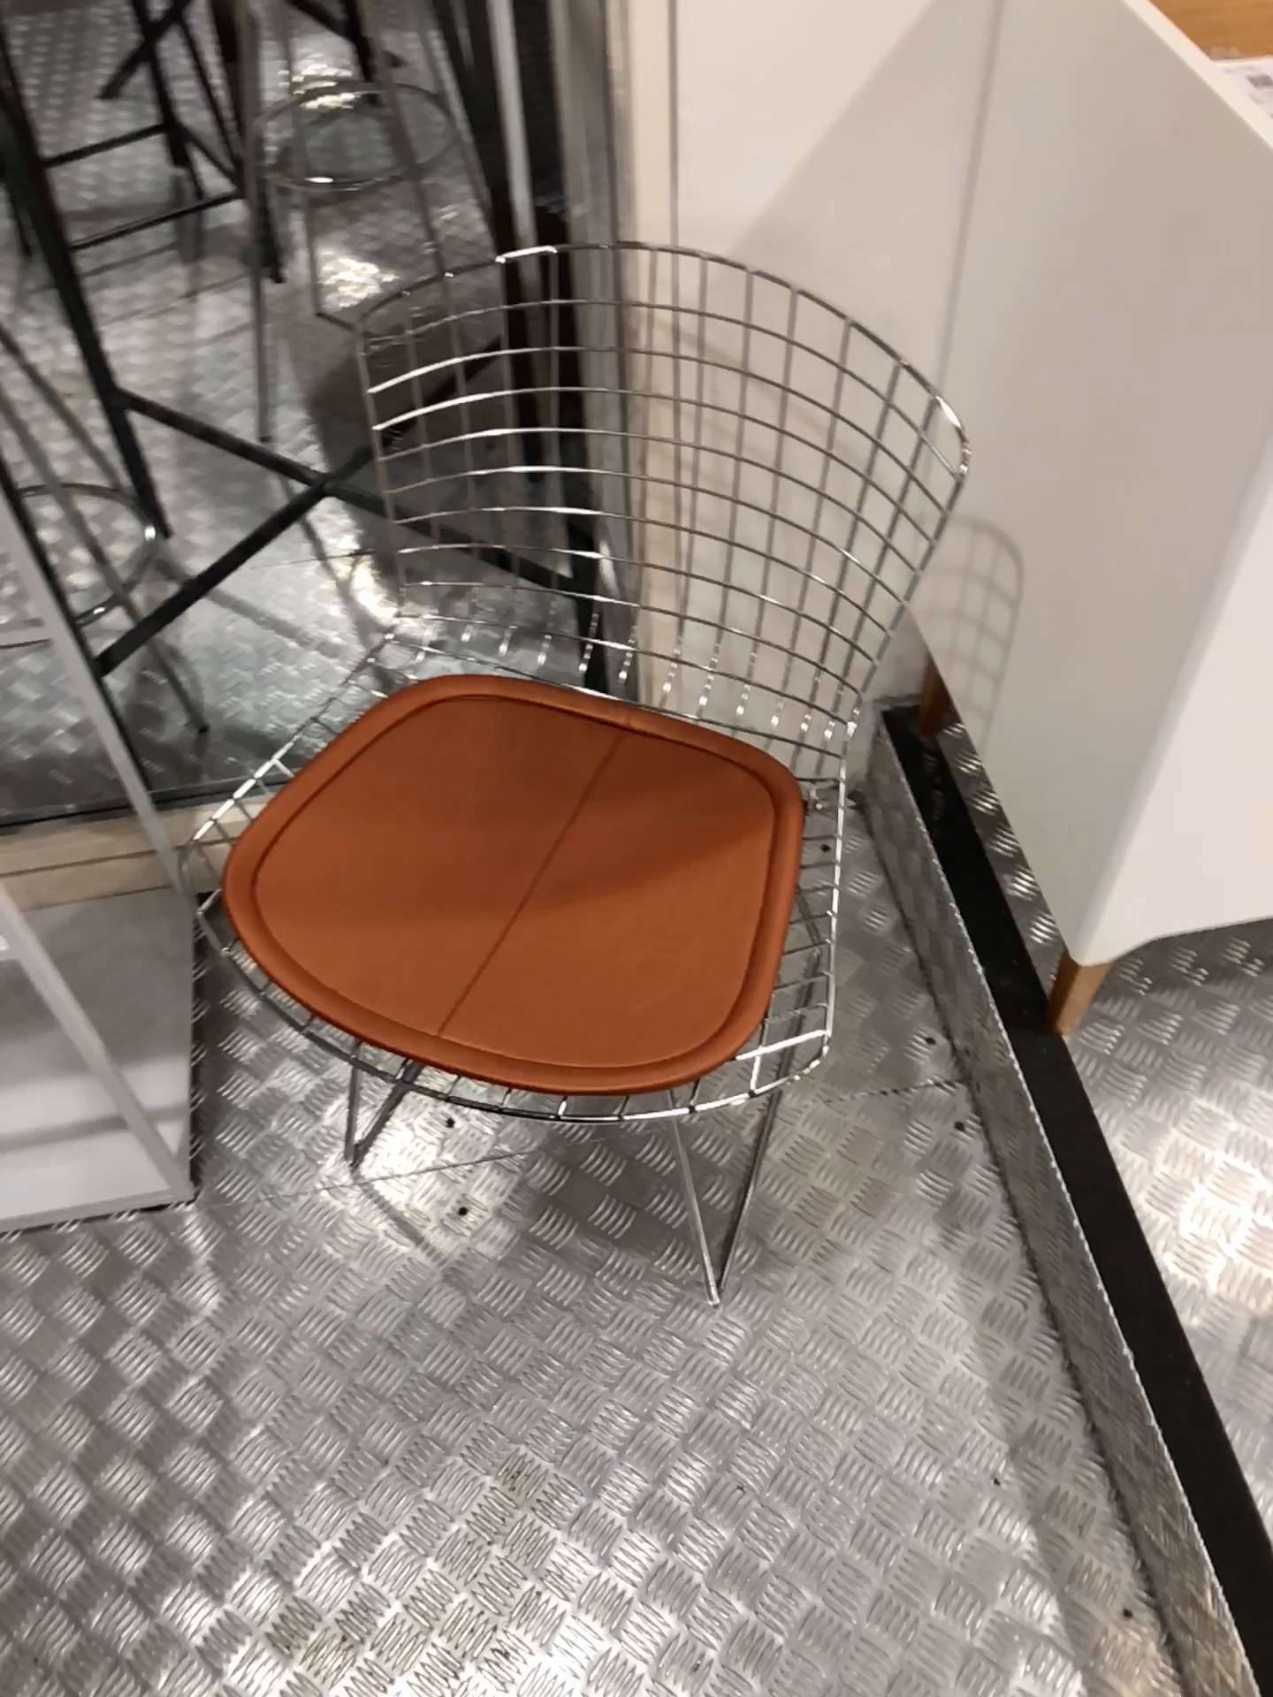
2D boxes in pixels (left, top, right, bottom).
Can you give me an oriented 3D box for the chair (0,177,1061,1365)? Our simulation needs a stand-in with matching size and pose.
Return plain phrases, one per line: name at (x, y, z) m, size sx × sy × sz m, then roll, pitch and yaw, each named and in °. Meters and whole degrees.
chair at (-0.039, -0.049, 1.191) m, size 0.550 × 0.706 × 0.573 m, roll 16°, pitch 54°, yaw 15°
